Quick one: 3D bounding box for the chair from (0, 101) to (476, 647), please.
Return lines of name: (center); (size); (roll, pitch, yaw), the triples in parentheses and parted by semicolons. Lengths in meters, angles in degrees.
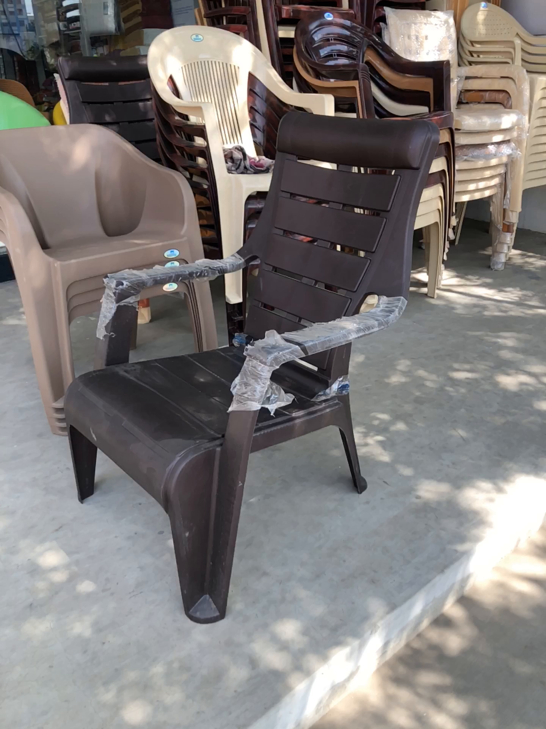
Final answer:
chair: (-0.100, -0.100, 1.369); (0.763, 0.876, 0.681); (-22, 32, -35)
